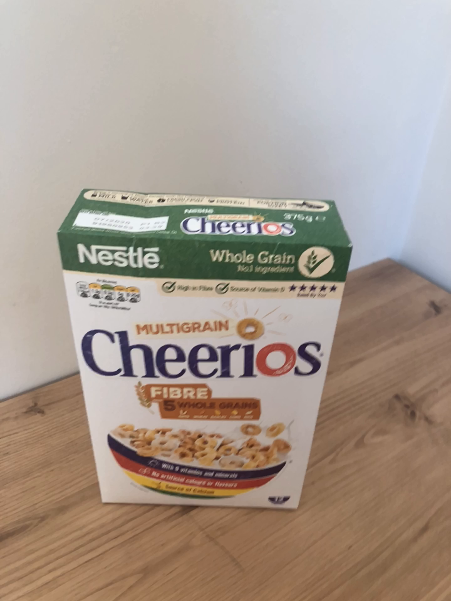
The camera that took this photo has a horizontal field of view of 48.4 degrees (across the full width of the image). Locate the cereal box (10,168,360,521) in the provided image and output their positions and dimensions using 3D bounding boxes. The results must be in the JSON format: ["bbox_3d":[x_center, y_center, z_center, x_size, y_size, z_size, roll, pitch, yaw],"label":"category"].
[{"bbox_3d":[-0.031,0.057,0.422,0.210,0.308,0.081,2,35,-2],"label":"cereal box"}]
